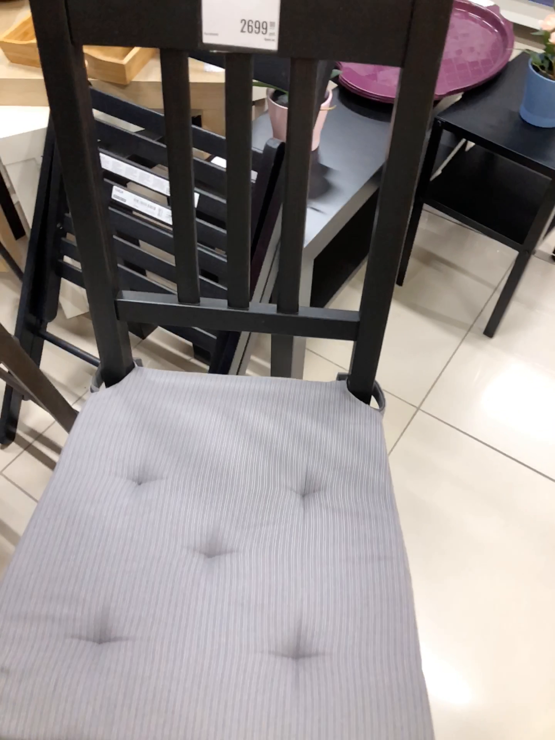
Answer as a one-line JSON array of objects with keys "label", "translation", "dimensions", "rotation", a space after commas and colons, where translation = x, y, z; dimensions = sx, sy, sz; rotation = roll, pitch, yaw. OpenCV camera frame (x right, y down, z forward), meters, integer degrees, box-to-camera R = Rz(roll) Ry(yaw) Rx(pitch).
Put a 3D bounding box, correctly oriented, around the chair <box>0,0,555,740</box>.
[{"label": "chair", "translation": [-0.061, 0.159, 0.652], "dimensions": [0.410, 0.894, 0.493], "rotation": [5, 53, 3]}]
